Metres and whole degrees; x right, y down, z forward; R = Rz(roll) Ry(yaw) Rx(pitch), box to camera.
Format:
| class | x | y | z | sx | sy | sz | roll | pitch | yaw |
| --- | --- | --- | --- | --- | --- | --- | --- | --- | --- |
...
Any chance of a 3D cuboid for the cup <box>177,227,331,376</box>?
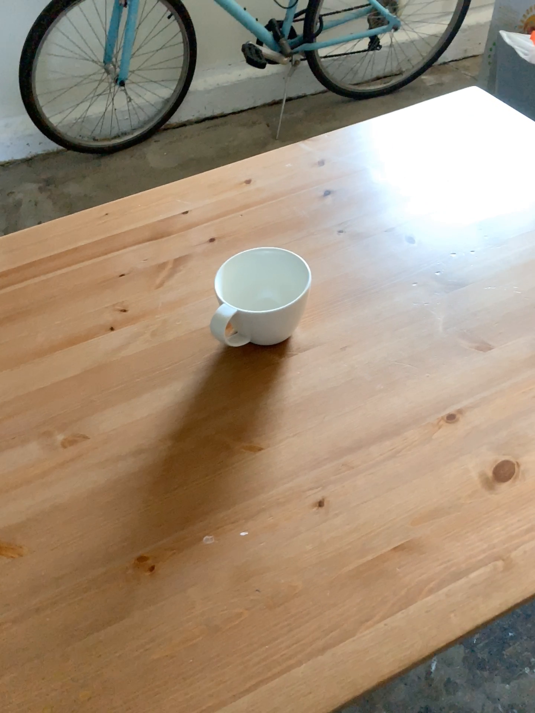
| class | x | y | z | sx | sy | sz | roll | pitch | yaw |
| --- | --- | --- | --- | --- | --- | --- | --- | --- | --- |
| cup | -0.014 | -0.066 | 0.626 | 0.130 | 0.070 | 0.110 | -32 | 55 | -19 |
